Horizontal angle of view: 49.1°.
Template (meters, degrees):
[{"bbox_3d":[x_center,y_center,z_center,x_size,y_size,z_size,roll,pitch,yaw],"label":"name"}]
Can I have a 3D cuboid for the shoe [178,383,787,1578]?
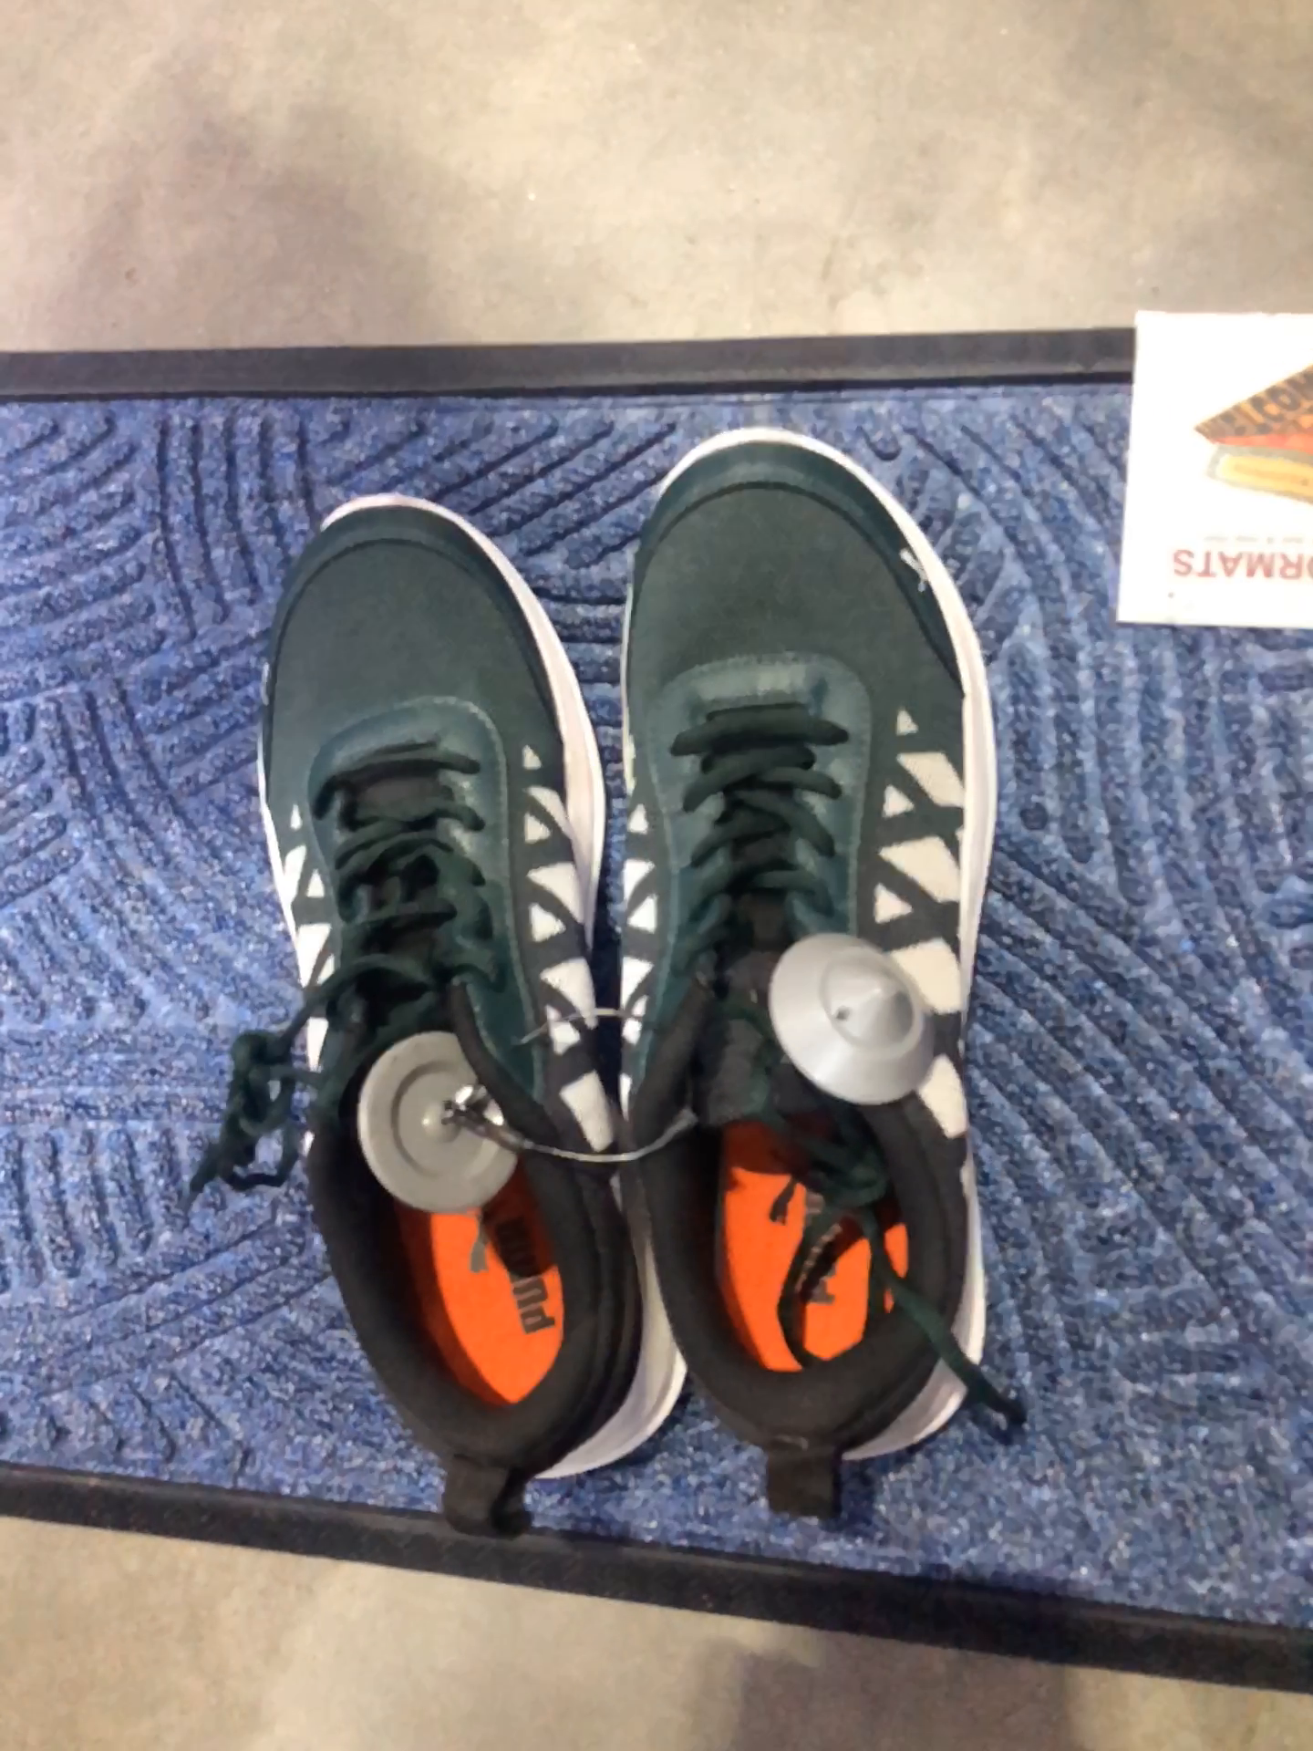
[{"bbox_3d":[-0.051,0.026,0.422,0.110,0.060,0.310,-13,82,9],"label":"shoe"}]

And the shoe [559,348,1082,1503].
[{"bbox_3d":[0.043,0.012,0.399,0.120,0.060,0.290,-3,84,10],"label":"shoe"}]
